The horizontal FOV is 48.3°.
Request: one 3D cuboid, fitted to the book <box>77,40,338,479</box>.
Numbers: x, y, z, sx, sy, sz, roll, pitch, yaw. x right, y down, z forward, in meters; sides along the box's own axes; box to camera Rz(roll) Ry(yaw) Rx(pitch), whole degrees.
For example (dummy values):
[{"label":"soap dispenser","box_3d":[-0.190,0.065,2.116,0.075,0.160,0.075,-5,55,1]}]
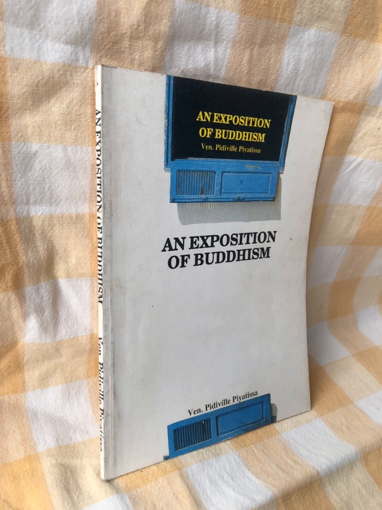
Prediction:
[{"label":"book","box_3d":[0.014,0.004,0.232,0.140,0.200,0.020,-5,13,-29]}]
